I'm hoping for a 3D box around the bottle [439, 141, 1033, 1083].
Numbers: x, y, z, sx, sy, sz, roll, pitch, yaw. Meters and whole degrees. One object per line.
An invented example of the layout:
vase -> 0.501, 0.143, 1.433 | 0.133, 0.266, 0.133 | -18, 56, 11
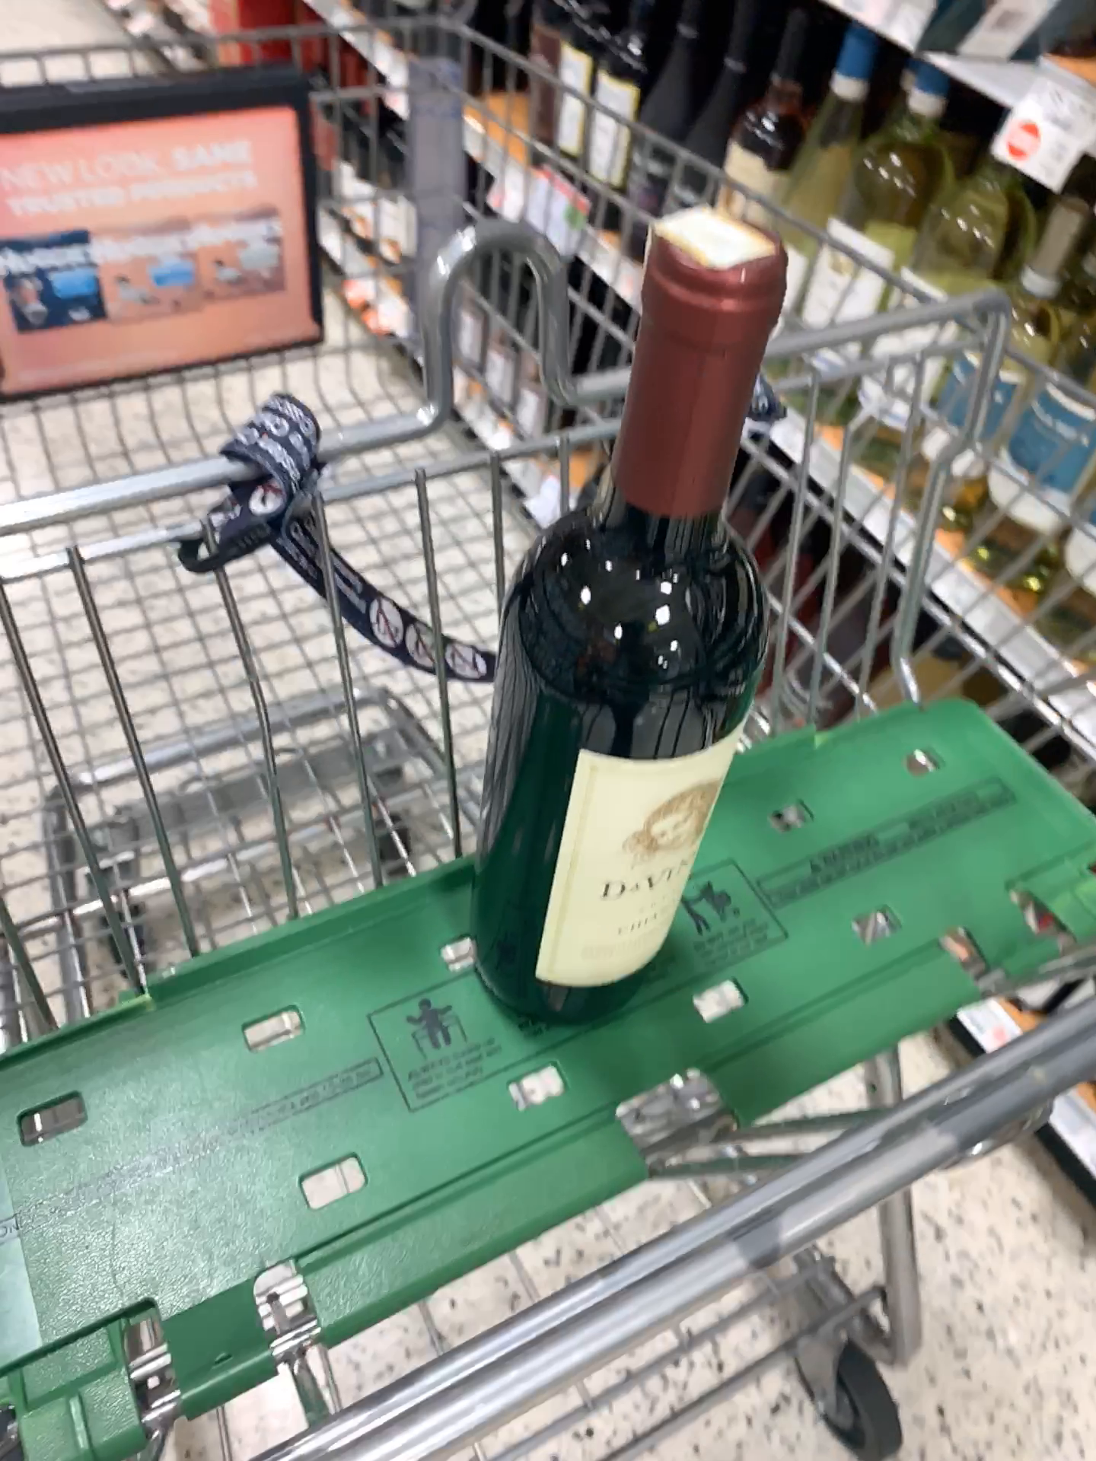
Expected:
bottle -> 0.026, -0.008, 0.325 | 0.080, 0.267, 0.081 | 4, 49, -4
